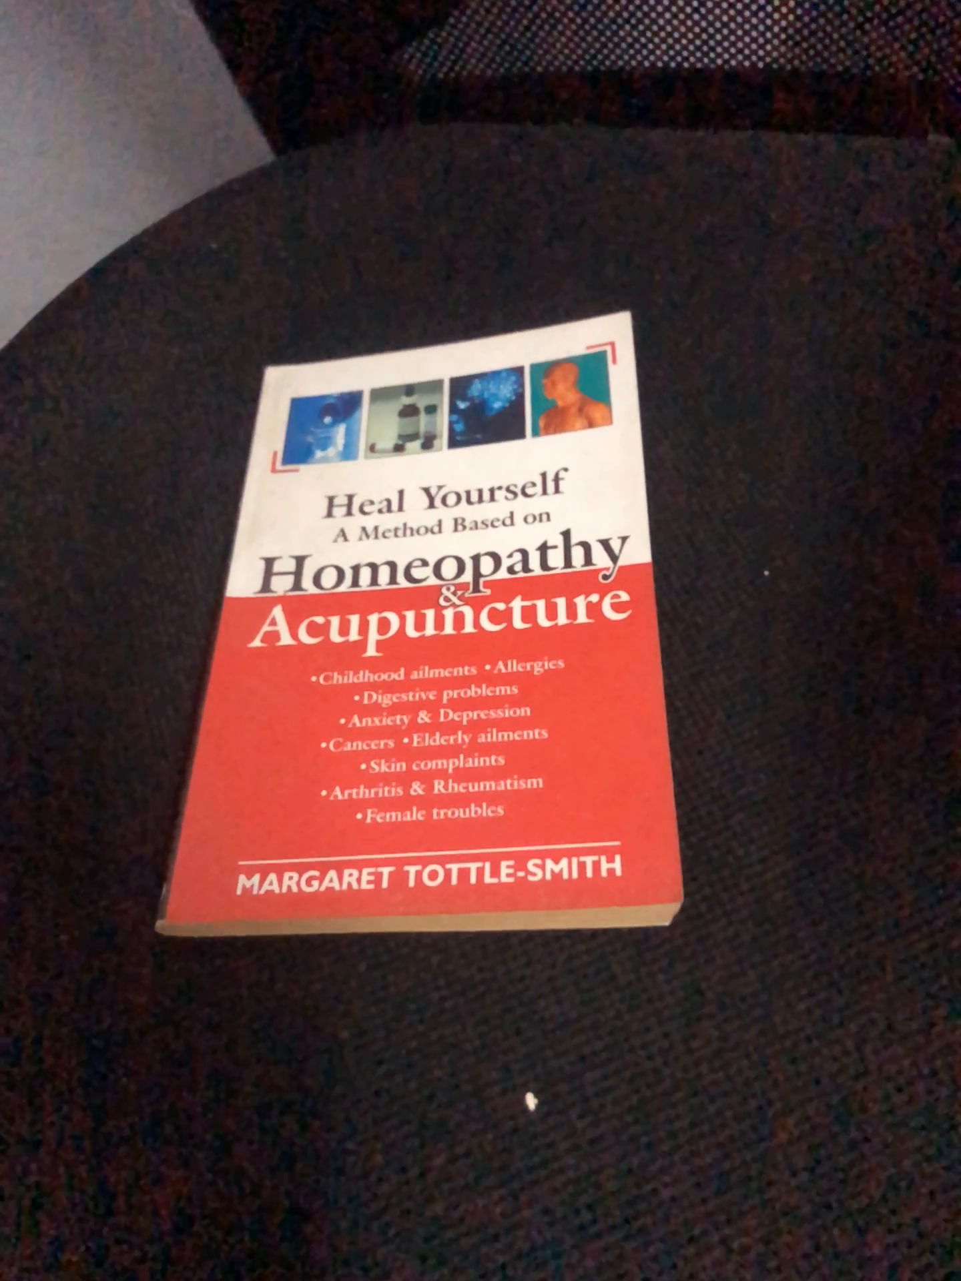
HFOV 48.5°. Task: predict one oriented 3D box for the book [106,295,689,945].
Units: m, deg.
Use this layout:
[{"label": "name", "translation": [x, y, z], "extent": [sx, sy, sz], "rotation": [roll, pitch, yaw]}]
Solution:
[{"label": "book", "translation": [-0.018, -0.018, 0.335], "extent": [0.150, 0.020, 0.221], "rotation": [-4, 56, 10]}]
